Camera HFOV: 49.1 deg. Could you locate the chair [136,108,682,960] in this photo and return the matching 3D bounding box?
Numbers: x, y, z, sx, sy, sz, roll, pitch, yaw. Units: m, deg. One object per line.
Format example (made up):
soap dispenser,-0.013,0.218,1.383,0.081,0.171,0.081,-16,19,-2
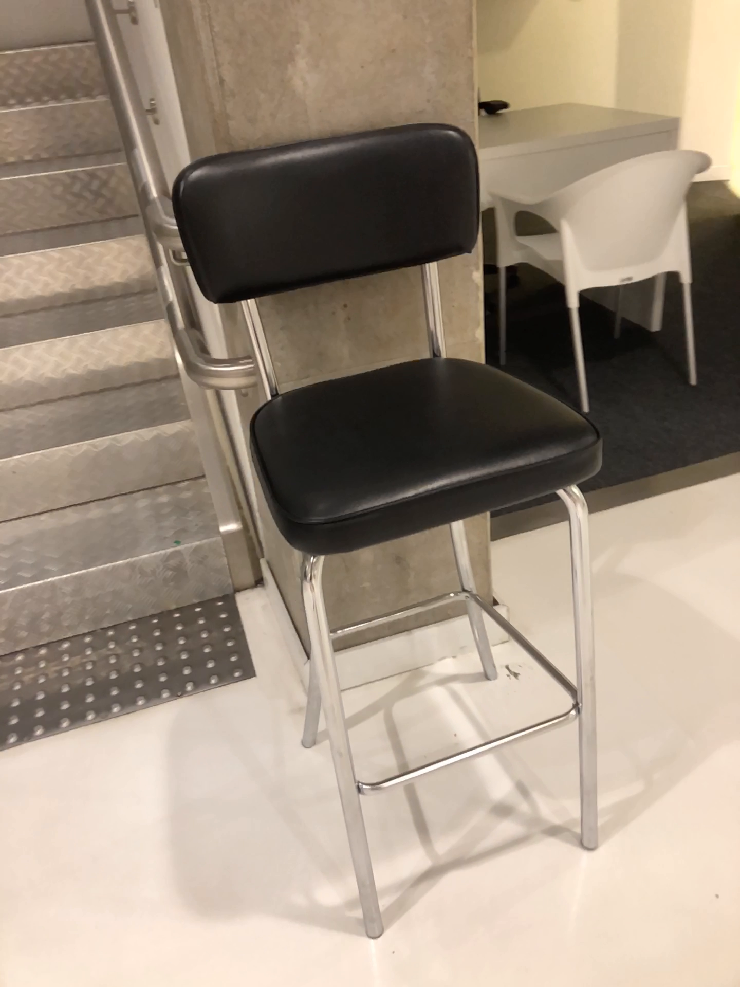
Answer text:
chair,0.045,0.059,1.102,0.450,0.983,0.443,-14,31,-13
